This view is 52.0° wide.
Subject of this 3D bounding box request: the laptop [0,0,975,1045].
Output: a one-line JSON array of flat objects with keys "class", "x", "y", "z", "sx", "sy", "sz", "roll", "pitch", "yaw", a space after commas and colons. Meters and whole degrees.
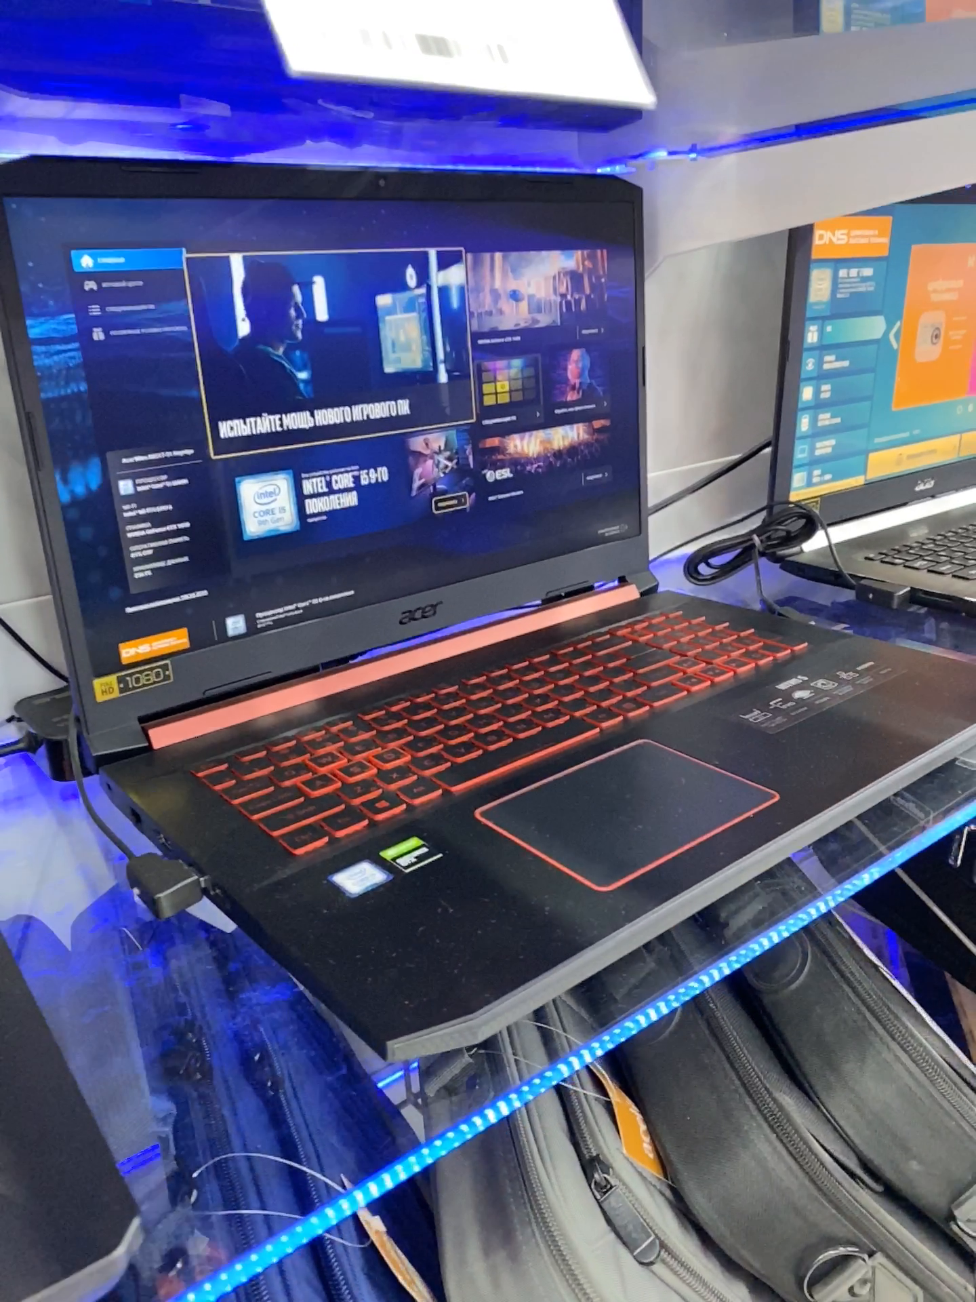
[{"class": "laptop", "x": 0.039, "y": -0.094, "z": 0.470, "sx": 0.406, "sy": 0.268, "sz": 0.285, "roll": -17, "pitch": 23, "yaw": -36}]
